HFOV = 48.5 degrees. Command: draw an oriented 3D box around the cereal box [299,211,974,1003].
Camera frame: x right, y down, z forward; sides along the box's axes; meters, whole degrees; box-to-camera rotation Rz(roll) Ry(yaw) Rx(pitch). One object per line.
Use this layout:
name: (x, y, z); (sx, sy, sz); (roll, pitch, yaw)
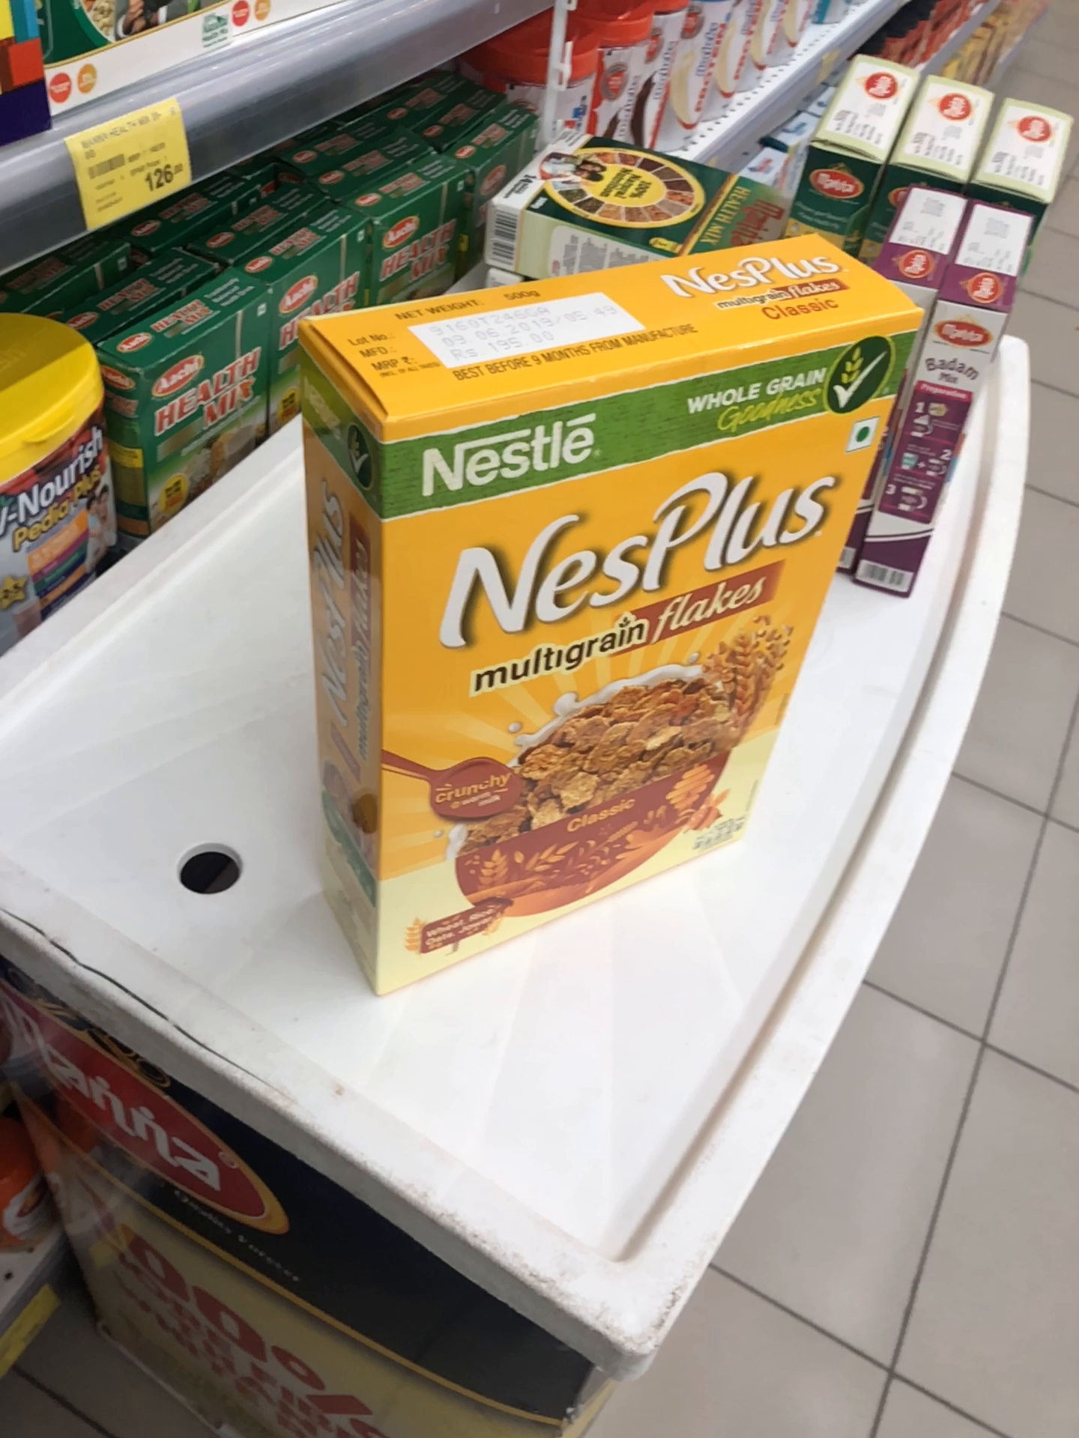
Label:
cereal box: (0.021, -0.032, 0.454); (0.200, 0.269, 0.070); (-20, 52, -26)
